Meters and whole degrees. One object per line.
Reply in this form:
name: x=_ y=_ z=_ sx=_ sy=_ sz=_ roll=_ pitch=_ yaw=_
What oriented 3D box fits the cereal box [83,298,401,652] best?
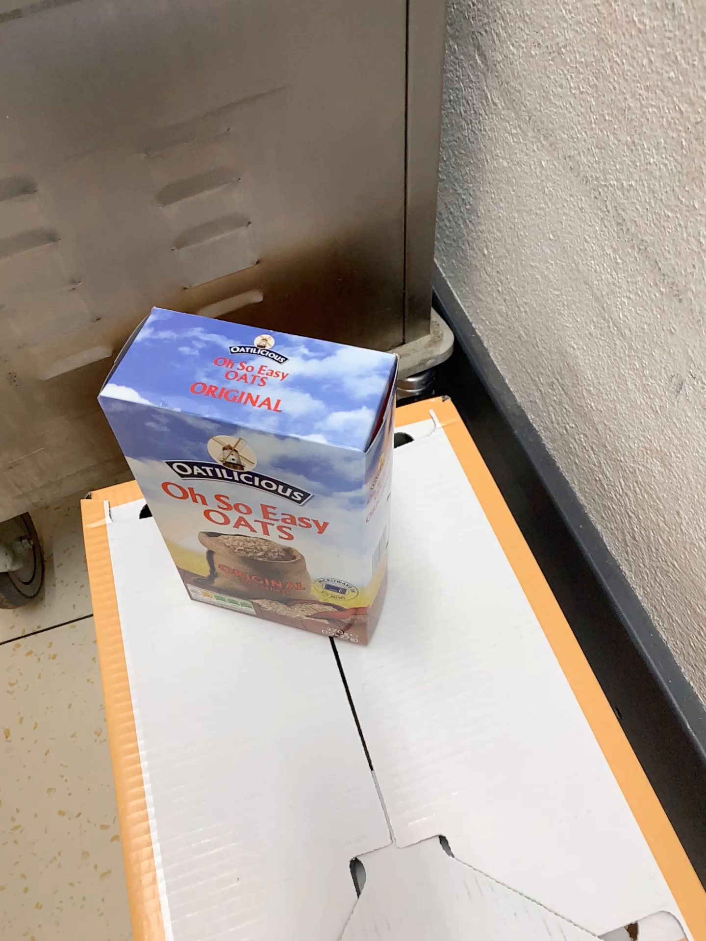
cereal box: x=-0.044 y=0.017 z=0.413 sx=0.130 sy=0.218 sz=0.060 roll=12 pitch=56 yaw=12
